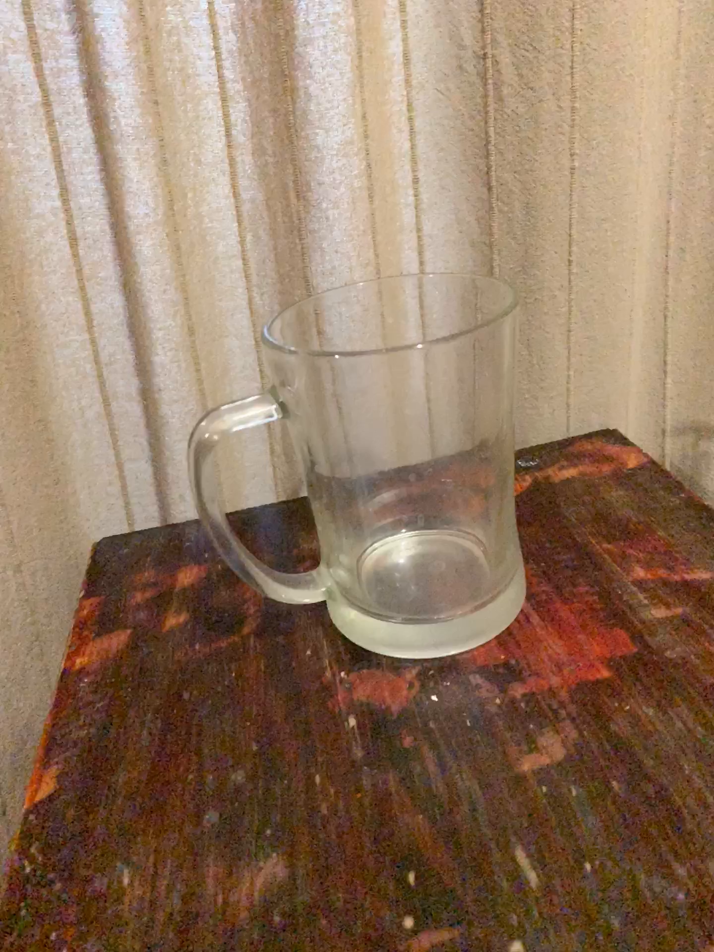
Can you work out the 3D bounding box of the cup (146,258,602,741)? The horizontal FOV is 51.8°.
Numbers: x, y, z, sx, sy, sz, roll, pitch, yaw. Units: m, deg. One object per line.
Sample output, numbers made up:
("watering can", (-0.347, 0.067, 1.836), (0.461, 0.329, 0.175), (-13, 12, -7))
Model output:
("cup", (0.011, -0.003, 0.308), (0.143, 0.135, 0.101), (-20, 29, -24))
